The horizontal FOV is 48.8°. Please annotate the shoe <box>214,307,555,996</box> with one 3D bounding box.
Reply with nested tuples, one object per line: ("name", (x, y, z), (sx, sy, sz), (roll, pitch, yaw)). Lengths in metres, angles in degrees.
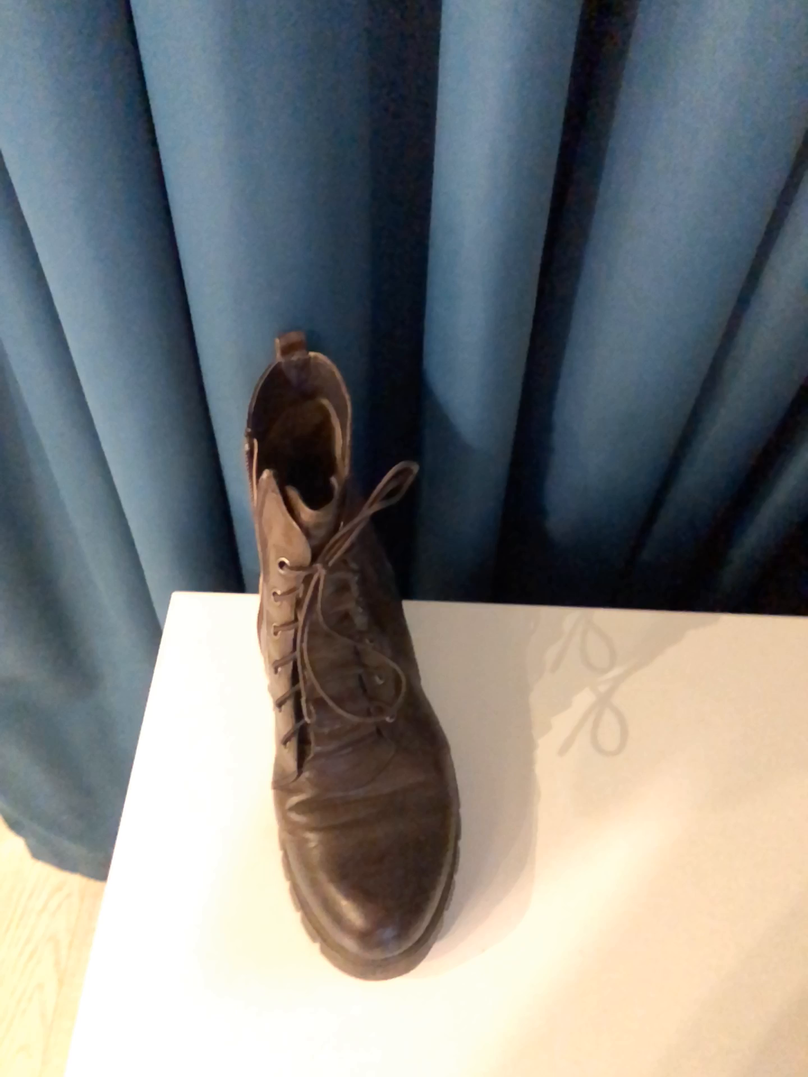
("shoe", (-0.024, 0.045, 0.430), (0.100, 0.169, 0.272), (-7, 52, -7))
